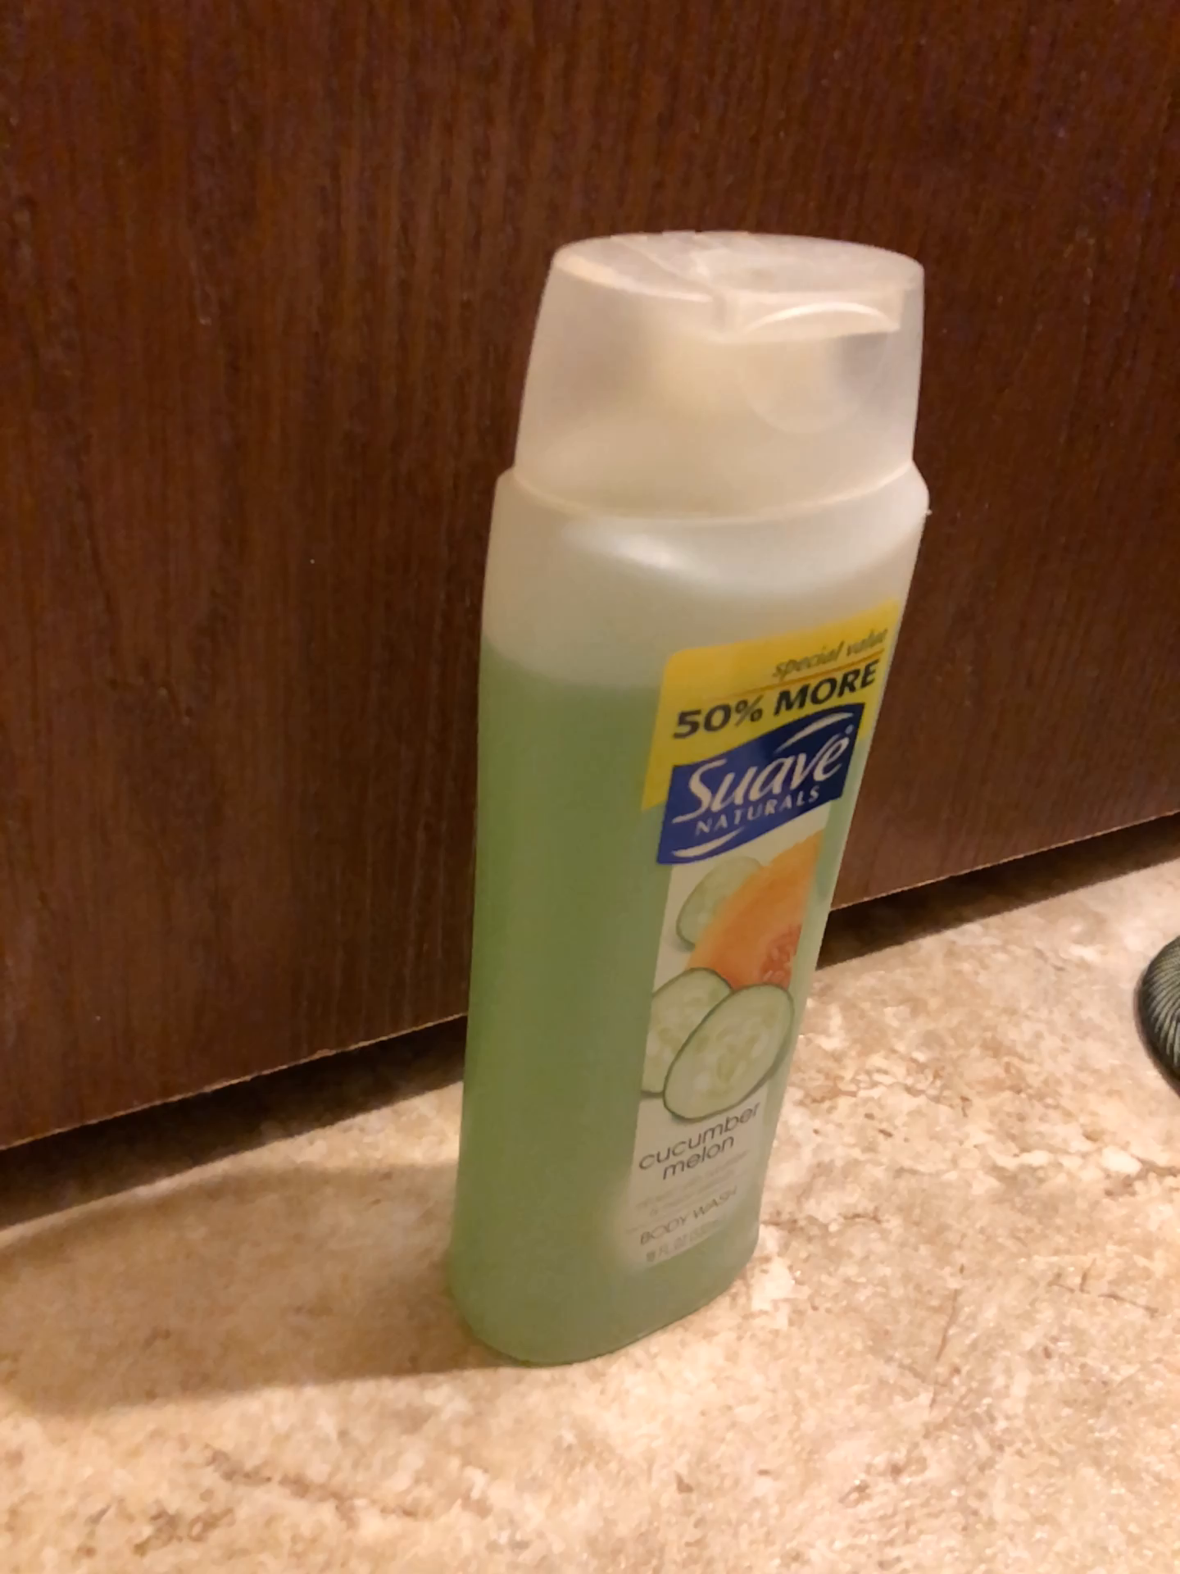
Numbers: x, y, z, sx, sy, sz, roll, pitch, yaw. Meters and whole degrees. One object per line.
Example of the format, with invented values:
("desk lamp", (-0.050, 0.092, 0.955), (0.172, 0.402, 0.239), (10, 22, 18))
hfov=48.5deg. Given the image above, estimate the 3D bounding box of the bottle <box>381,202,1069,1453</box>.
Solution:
("bottle", (0.011, 0.020, 0.257), (0.090, 0.239, 0.050), (-17, 39, -31))
